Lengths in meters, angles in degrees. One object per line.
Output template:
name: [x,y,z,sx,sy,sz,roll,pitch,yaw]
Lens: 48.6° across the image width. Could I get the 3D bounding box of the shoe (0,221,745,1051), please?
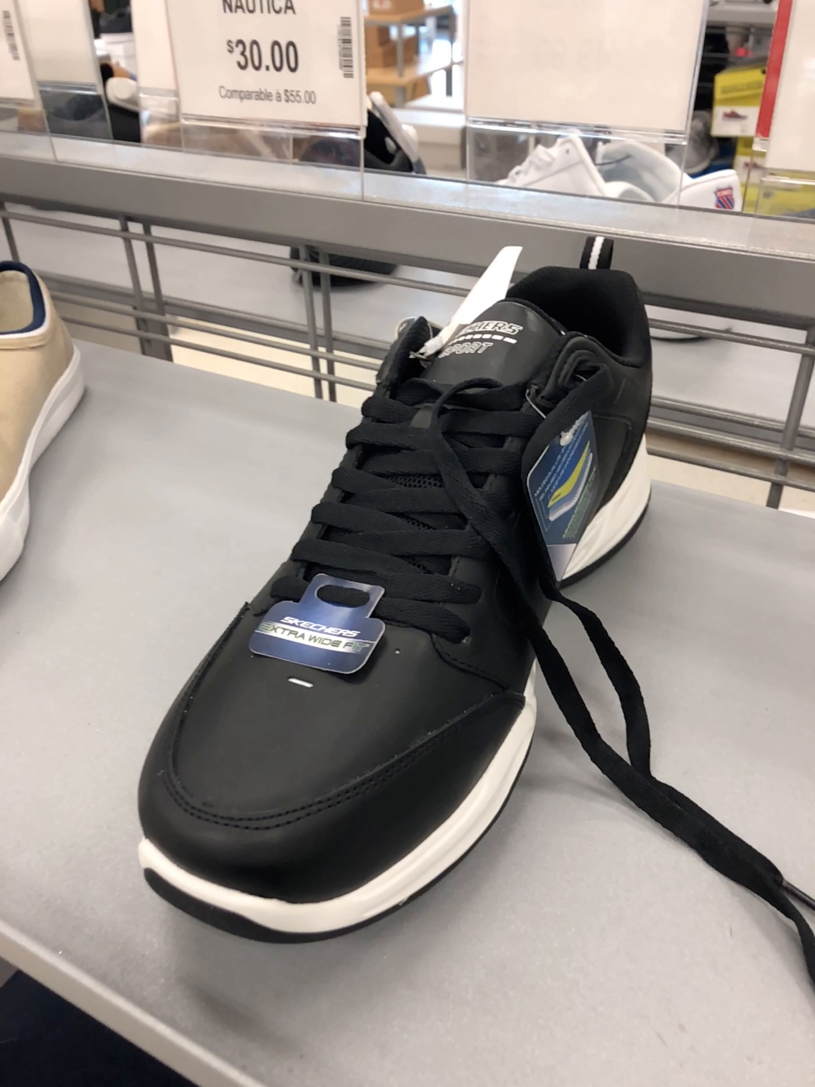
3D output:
shoe: [0.018,-0.018,0.360,0.130,0.109,0.352,17,39,24]
